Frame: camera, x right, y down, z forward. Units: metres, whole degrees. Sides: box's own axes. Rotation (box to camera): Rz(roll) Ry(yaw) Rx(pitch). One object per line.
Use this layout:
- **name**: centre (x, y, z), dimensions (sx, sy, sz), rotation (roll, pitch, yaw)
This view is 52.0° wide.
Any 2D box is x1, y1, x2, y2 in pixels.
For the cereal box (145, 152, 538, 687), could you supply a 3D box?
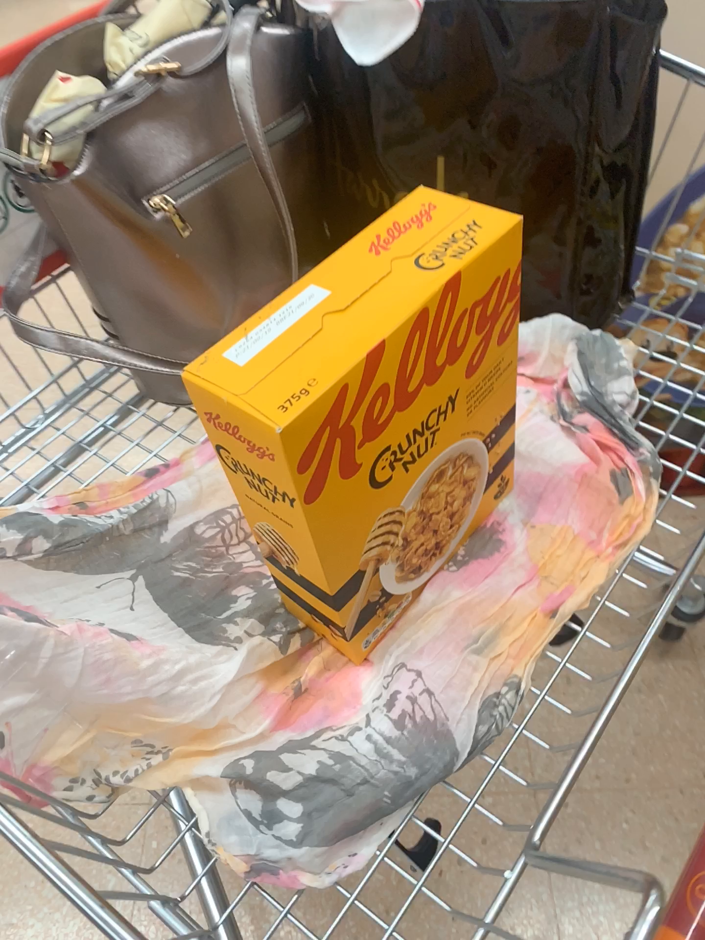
- **cereal box**: centre (0.018, -0.020, 0.457), dimensions (0.080, 0.258, 0.211), rotation (29, 60, 29)
